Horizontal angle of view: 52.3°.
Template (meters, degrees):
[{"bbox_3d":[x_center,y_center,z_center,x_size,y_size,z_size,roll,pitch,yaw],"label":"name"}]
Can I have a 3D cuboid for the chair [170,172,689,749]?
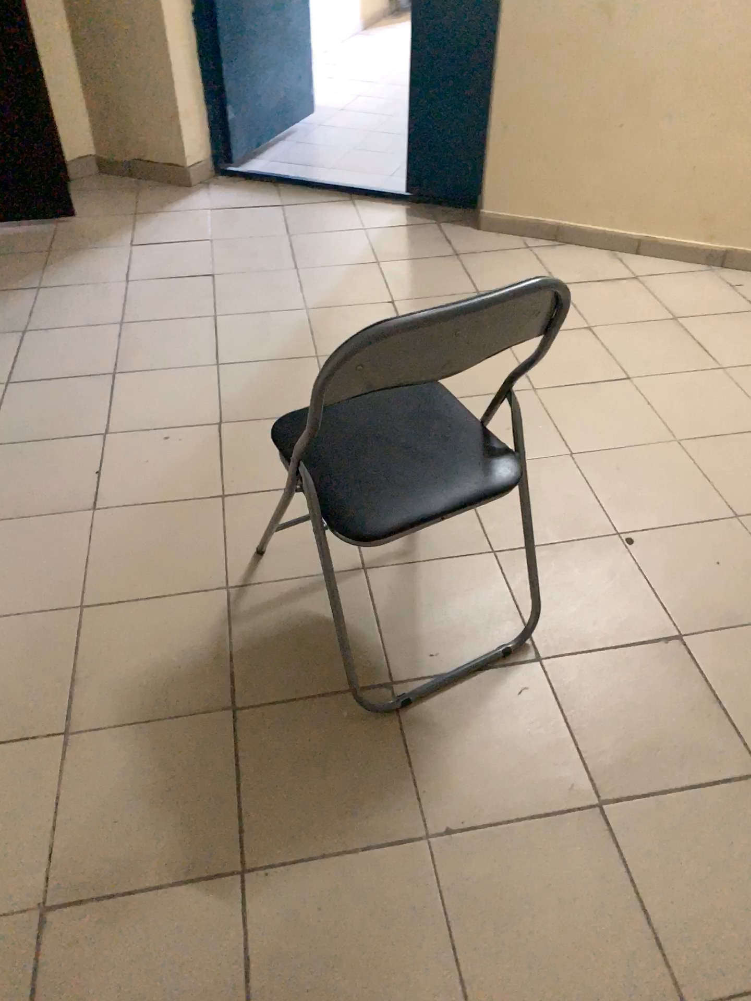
[{"bbox_3d":[0.047,-0.089,1.382,0.570,0.726,0.562,-18,45,-20],"label":"chair"}]
